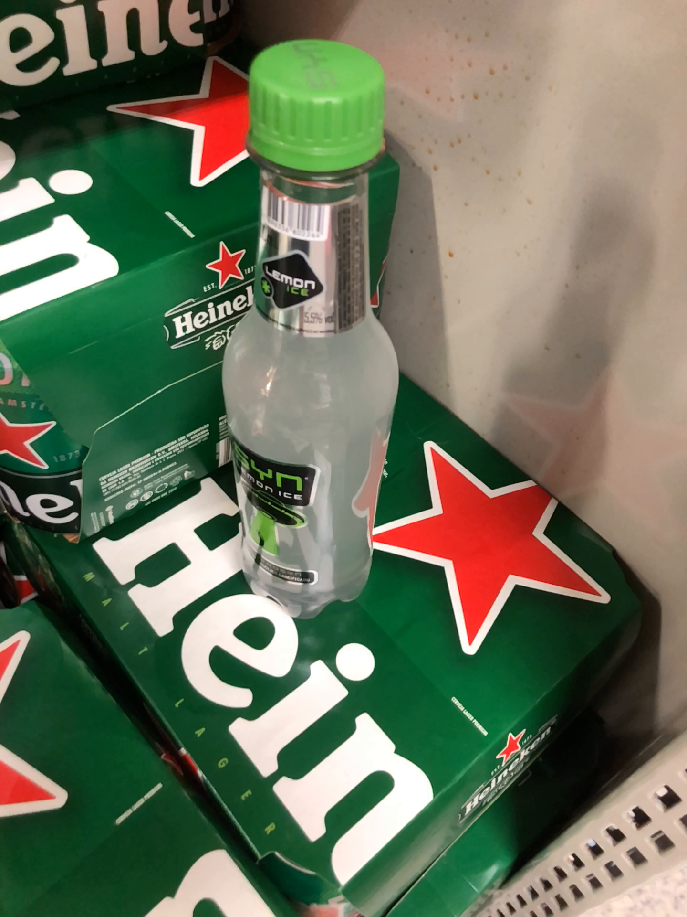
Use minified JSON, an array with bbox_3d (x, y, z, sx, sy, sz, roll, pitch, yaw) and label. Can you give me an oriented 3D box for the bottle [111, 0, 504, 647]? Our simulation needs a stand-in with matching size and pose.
[{"bbox_3d":[-0.012,-0.024,0.243,0.060,0.209,0.060,2,51,-3],"label":"bottle"}]
